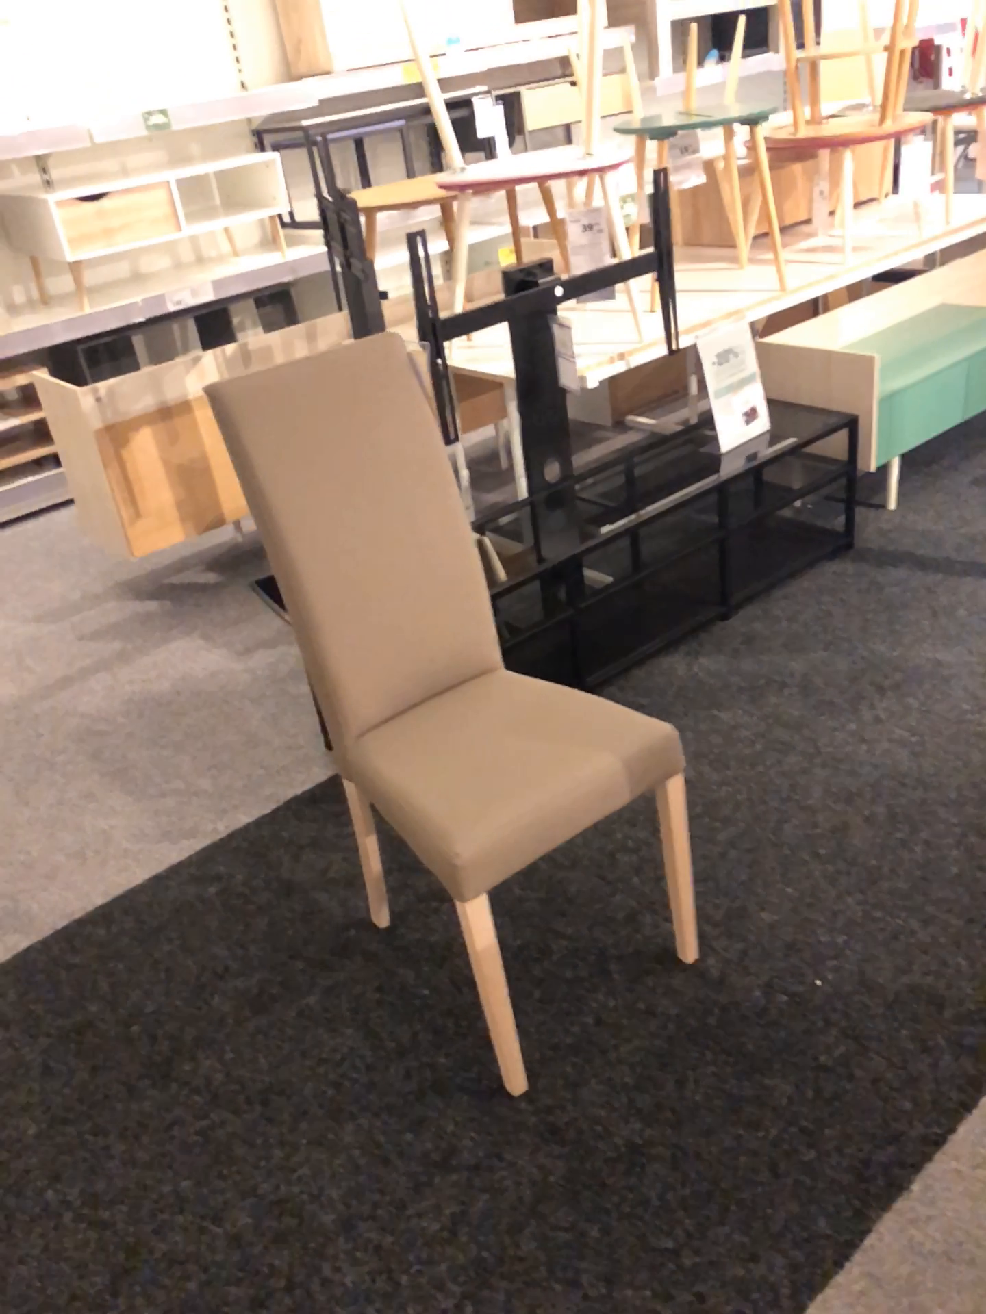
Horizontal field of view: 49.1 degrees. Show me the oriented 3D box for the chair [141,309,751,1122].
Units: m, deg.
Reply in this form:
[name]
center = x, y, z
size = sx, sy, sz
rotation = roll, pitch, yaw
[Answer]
[chair]
center = -0.039, 0.038, 1.649
size = 0.532, 0.945, 0.631
rotation = -26, 33, -28
